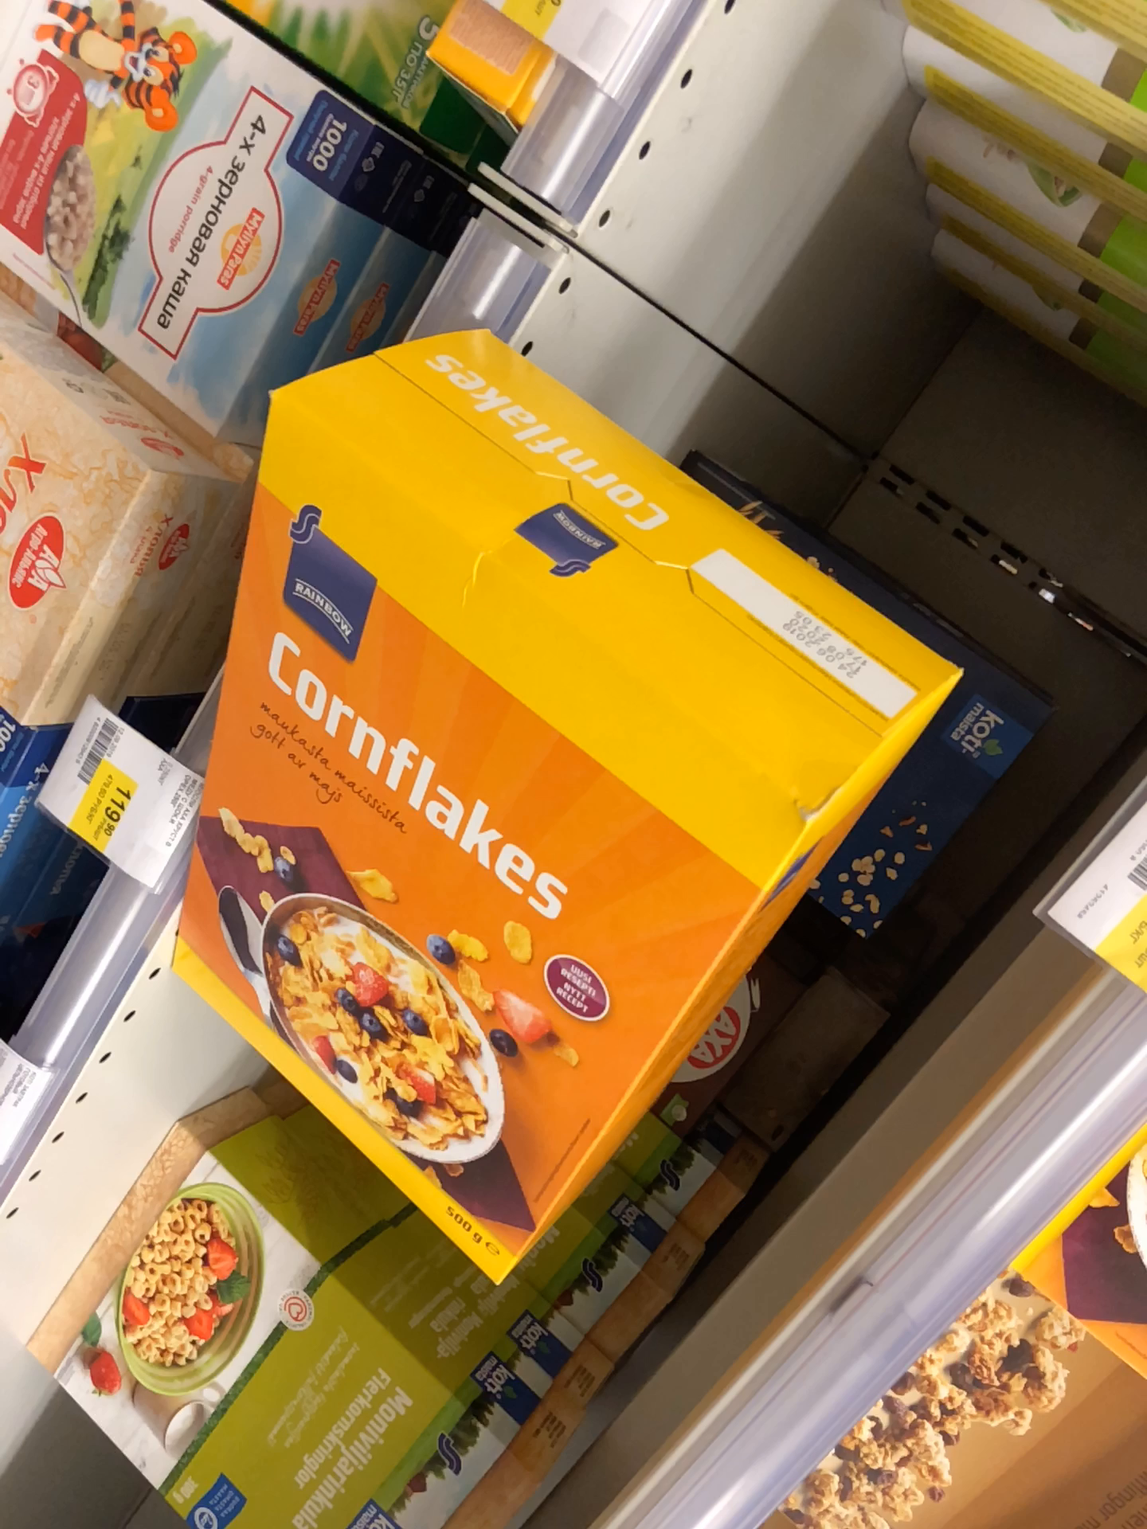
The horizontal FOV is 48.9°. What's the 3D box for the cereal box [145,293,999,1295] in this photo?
[{"bbox_3d":[-0.028,0.024,0.459,0.120,0.199,0.290,-37,160,-44],"label":"cereal box"}]
